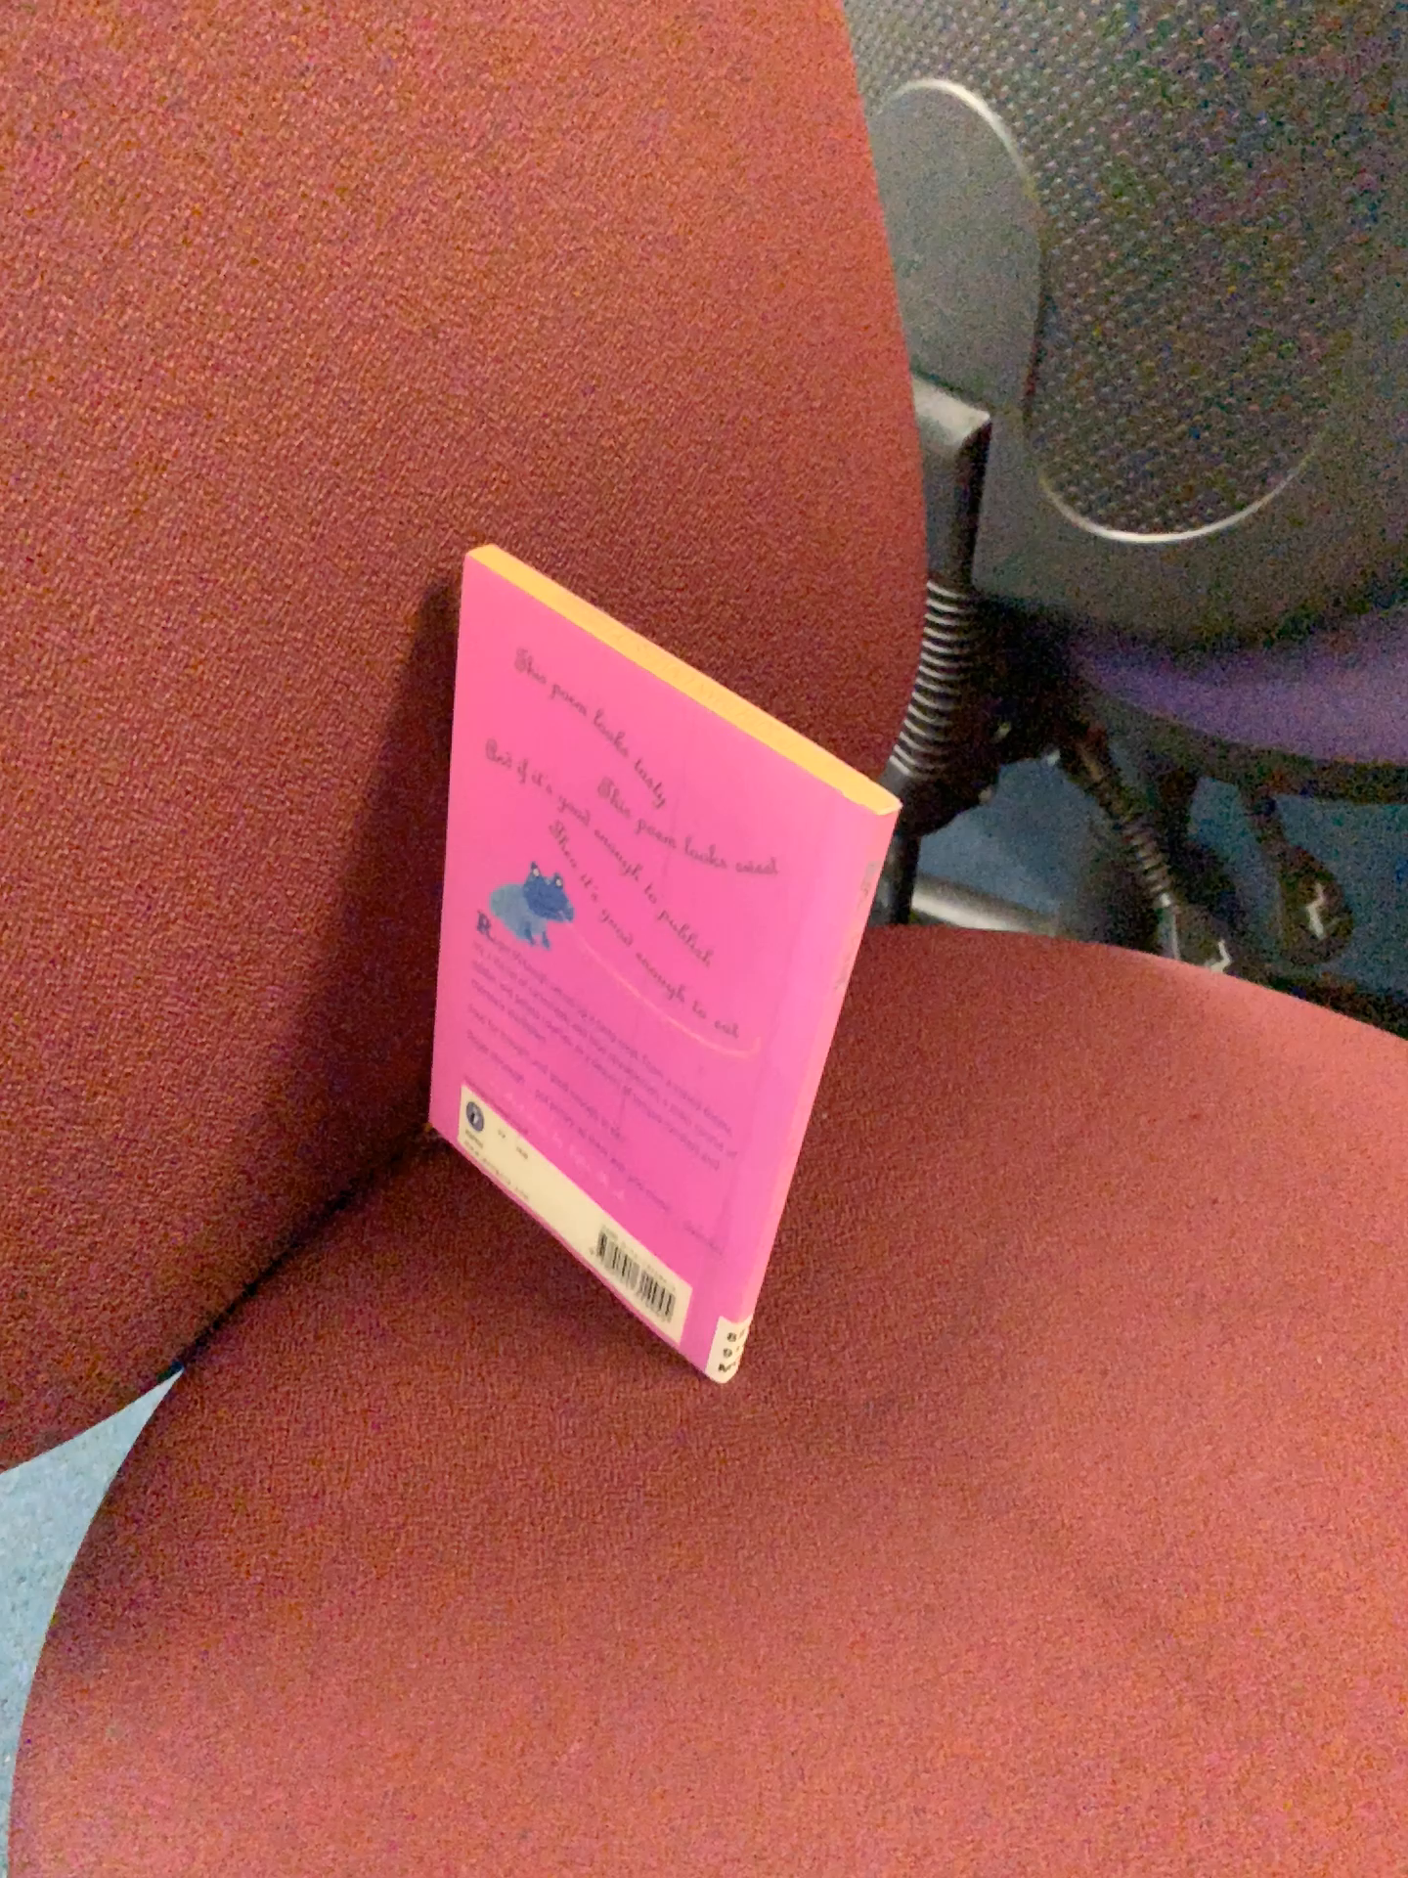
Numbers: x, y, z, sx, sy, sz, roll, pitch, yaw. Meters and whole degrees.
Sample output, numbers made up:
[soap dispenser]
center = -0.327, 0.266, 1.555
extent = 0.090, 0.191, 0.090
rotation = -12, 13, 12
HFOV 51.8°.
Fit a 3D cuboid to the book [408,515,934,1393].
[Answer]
[book]
center = -0.024, 0.009, 0.371
extent = 0.141, 0.189, 0.017
rotation = 35, 44, 29
